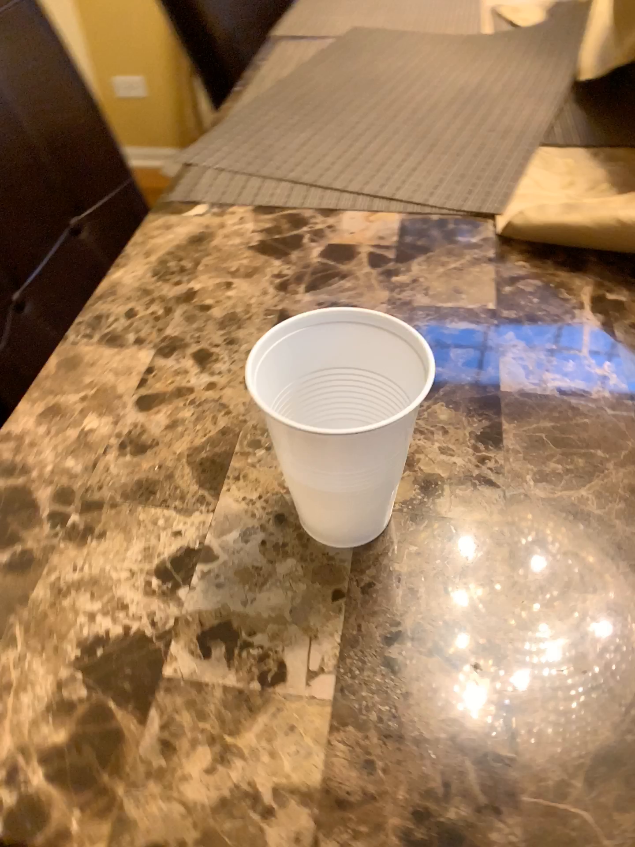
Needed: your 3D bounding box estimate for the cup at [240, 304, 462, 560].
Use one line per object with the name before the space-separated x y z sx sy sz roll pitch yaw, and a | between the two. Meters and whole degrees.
cup | 0.015 0.005 0.297 0.081 0.083 0.078 -2 45 2
